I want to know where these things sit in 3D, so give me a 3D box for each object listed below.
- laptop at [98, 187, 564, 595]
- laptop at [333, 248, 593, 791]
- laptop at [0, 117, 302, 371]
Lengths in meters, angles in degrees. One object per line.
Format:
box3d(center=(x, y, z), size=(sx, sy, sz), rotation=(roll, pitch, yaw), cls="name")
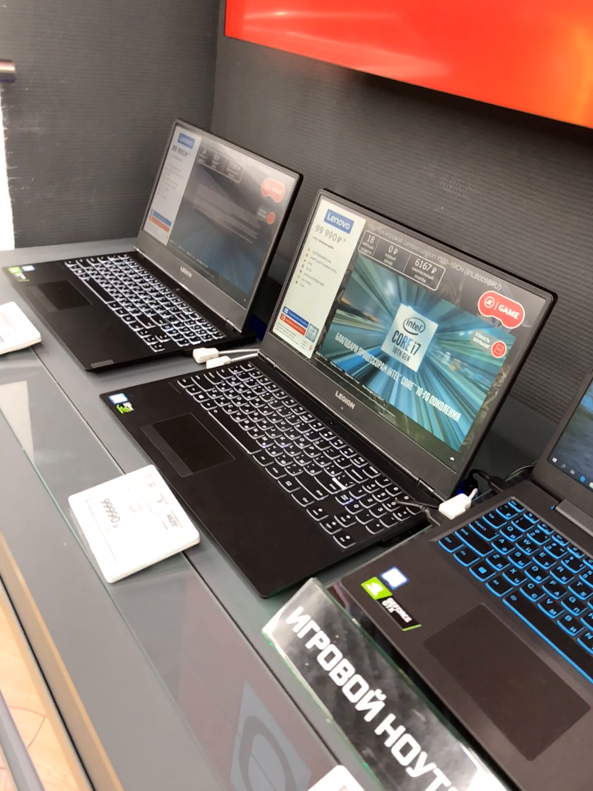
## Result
box3d(center=(0.006, -0.048, 0.689), size=(0.301, 0.225, 0.353), rotation=(-16, 39, -33), cls="laptop")
box3d(center=(0.286, 0.099, 0.445), size=(0.334, 0.225, 0.355), rotation=(-18, 39, -30), cls="laptop")
box3d(center=(-0.235, -0.255, 0.964), size=(0.315, 0.223, 0.354), rotation=(-17, 40, -35), cls="laptop")
